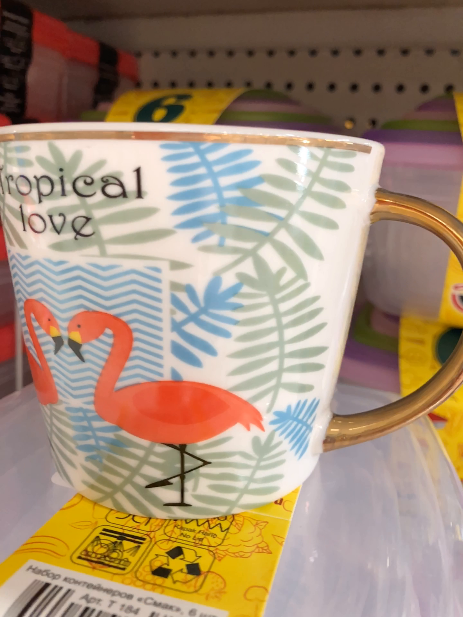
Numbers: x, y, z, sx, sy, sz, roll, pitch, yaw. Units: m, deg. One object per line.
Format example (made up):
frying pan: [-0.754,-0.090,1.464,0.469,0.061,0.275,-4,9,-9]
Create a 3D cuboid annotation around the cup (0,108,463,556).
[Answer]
cup: [-0.004,-0.006,0.152,0.128,0.085,0.102,3,14,5]
